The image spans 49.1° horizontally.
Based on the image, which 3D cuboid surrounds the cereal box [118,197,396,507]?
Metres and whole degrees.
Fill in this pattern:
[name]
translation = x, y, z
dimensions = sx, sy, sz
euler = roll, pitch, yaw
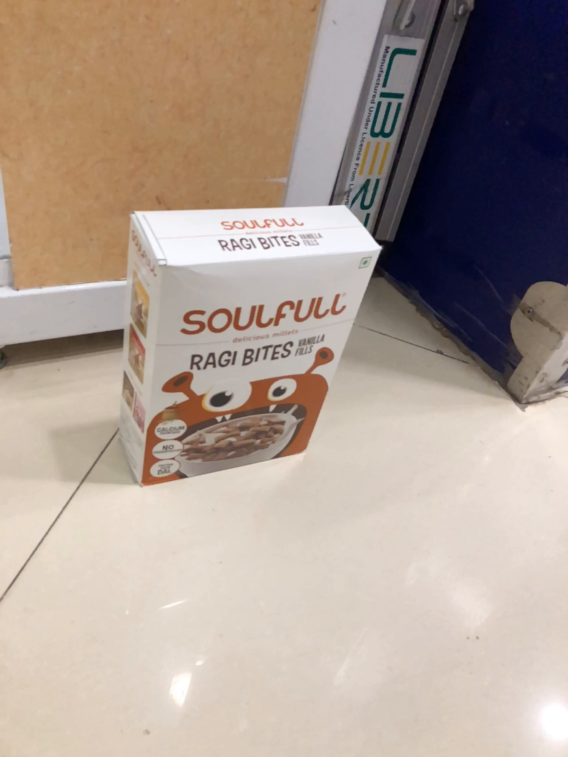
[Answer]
[cereal box]
translation = -0.037, -0.015, 0.505
dimensions = 0.171, 0.248, 0.070
euler = -9, 48, -26
